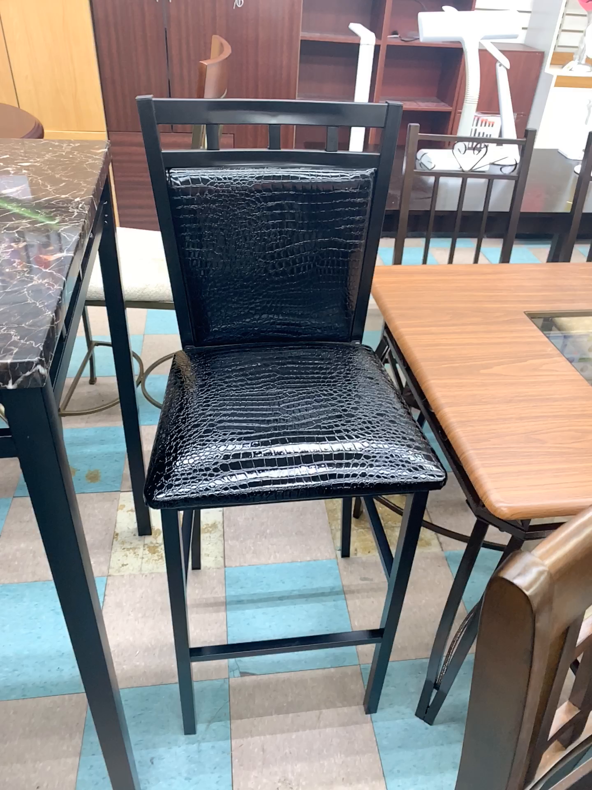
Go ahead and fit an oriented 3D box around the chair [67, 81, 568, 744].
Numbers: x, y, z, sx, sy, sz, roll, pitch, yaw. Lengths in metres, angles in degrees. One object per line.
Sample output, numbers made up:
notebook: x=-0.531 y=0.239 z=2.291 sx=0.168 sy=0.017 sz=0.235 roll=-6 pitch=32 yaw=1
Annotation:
chair: x=-0.016 y=0.096 z=0.997 sx=0.444 sy=1.025 sz=0.419 roll=-2 pitch=37 yaw=-7
